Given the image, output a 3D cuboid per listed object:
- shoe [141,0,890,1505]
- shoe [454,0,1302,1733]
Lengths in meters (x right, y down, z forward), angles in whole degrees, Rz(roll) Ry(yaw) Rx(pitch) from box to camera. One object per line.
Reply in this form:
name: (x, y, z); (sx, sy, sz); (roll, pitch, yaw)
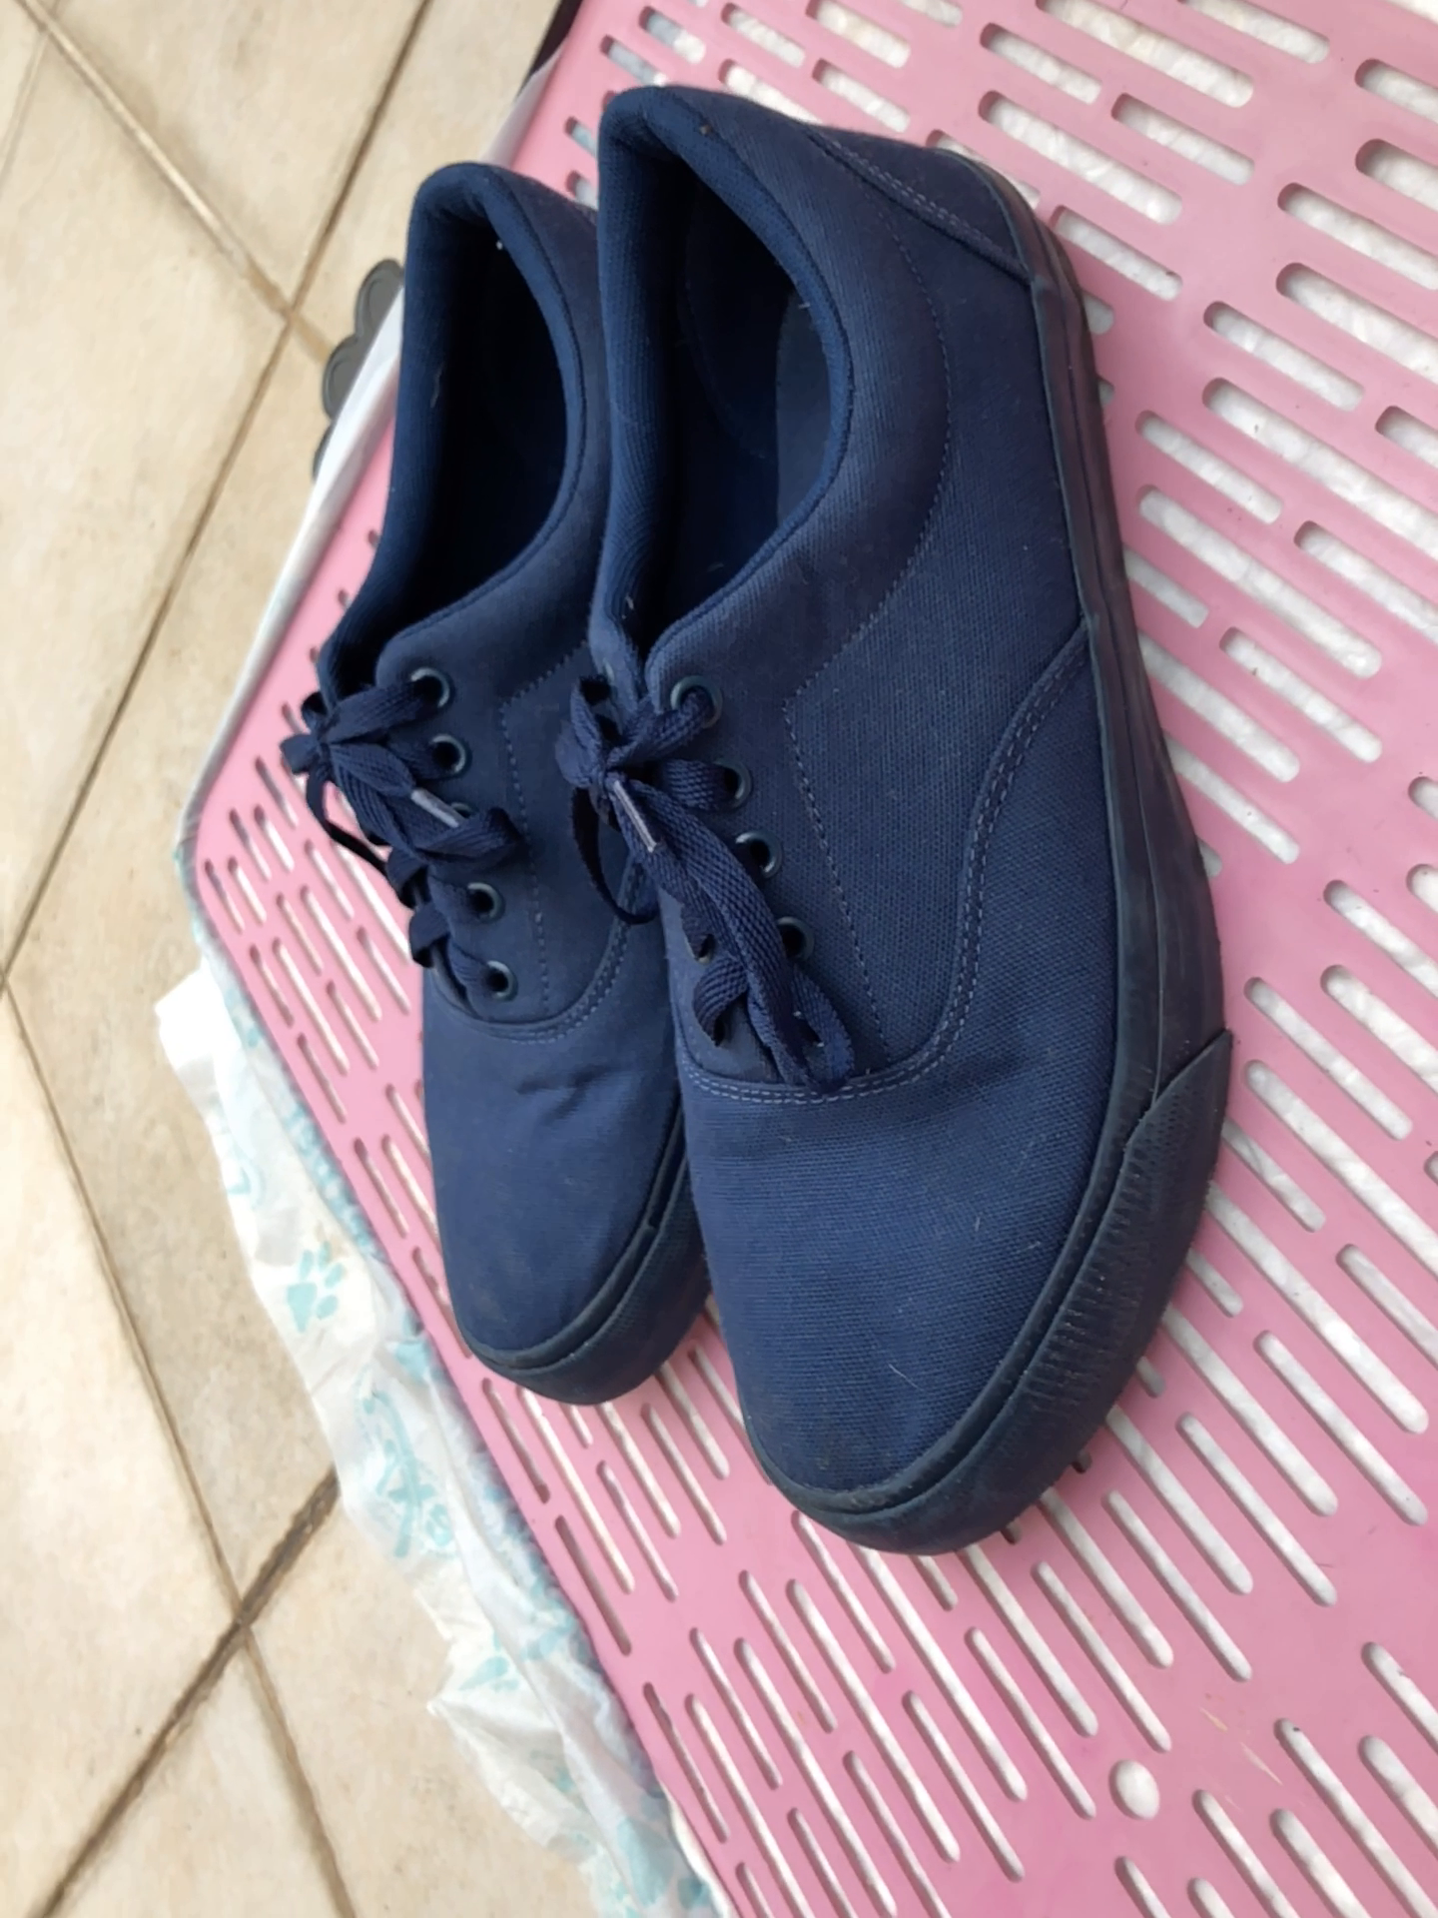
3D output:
shoe: (-0.045, -0.037, 0.355); (0.108, 0.099, 0.270); (2, 87, 45)
shoe: (0.026, -0.027, 0.293); (0.108, 0.099, 0.270); (-7, 80, 44)
